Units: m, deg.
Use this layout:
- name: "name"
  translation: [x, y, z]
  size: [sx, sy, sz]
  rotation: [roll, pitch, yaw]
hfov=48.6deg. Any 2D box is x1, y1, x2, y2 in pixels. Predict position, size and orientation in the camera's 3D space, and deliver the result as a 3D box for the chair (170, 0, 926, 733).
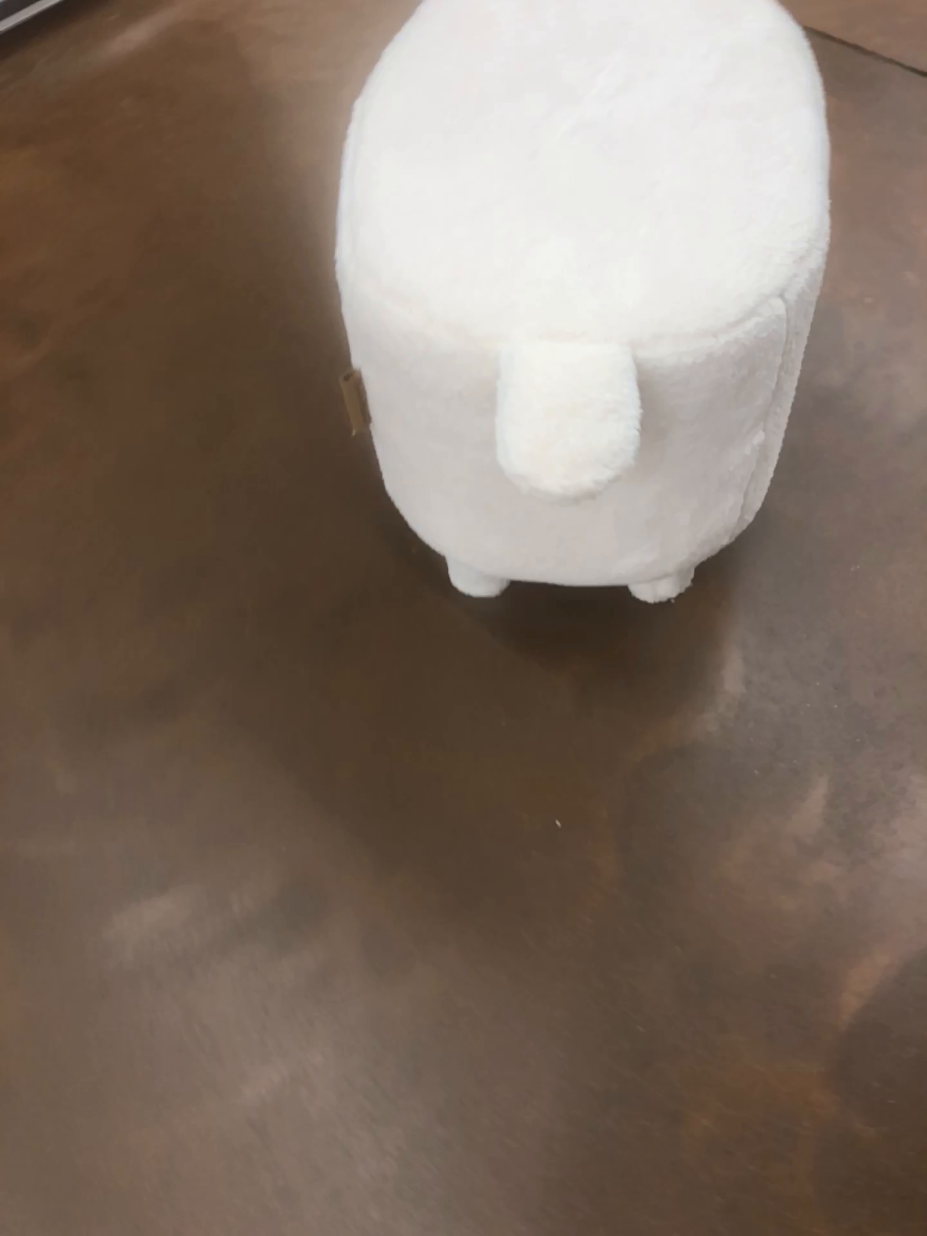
- name: "chair"
  translation: [0.123, -0.295, 0.847]
  size: [0.440, 0.349, 0.631]
  rotation: [7, 59, 9]
